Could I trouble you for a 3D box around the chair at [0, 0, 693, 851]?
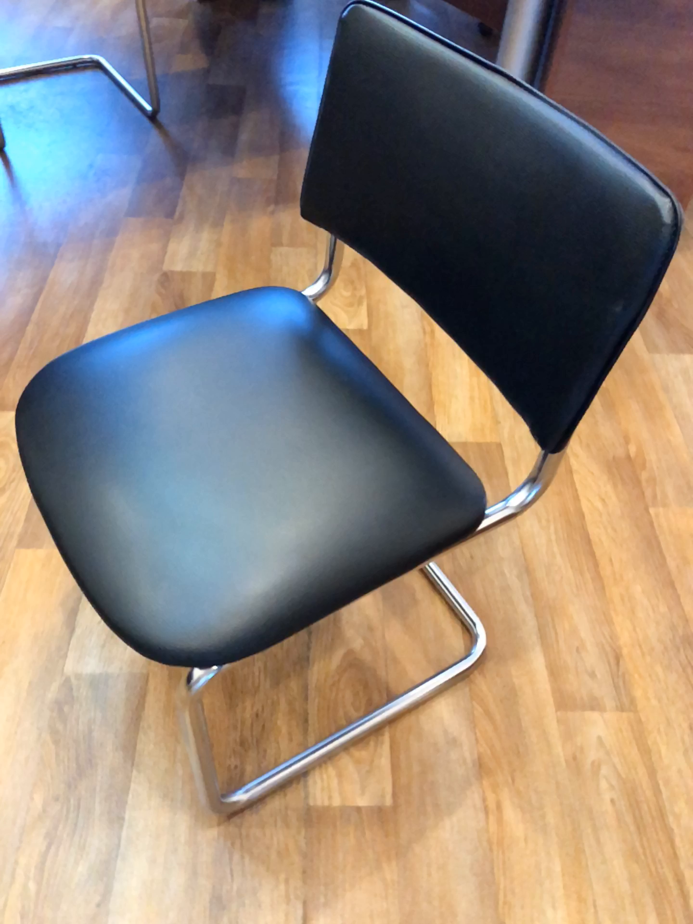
[{"bbox_3d":[-0.083,-0.023,0.891,0.525,0.745,0.493,-23,54,-22],"label":"chair"}]
